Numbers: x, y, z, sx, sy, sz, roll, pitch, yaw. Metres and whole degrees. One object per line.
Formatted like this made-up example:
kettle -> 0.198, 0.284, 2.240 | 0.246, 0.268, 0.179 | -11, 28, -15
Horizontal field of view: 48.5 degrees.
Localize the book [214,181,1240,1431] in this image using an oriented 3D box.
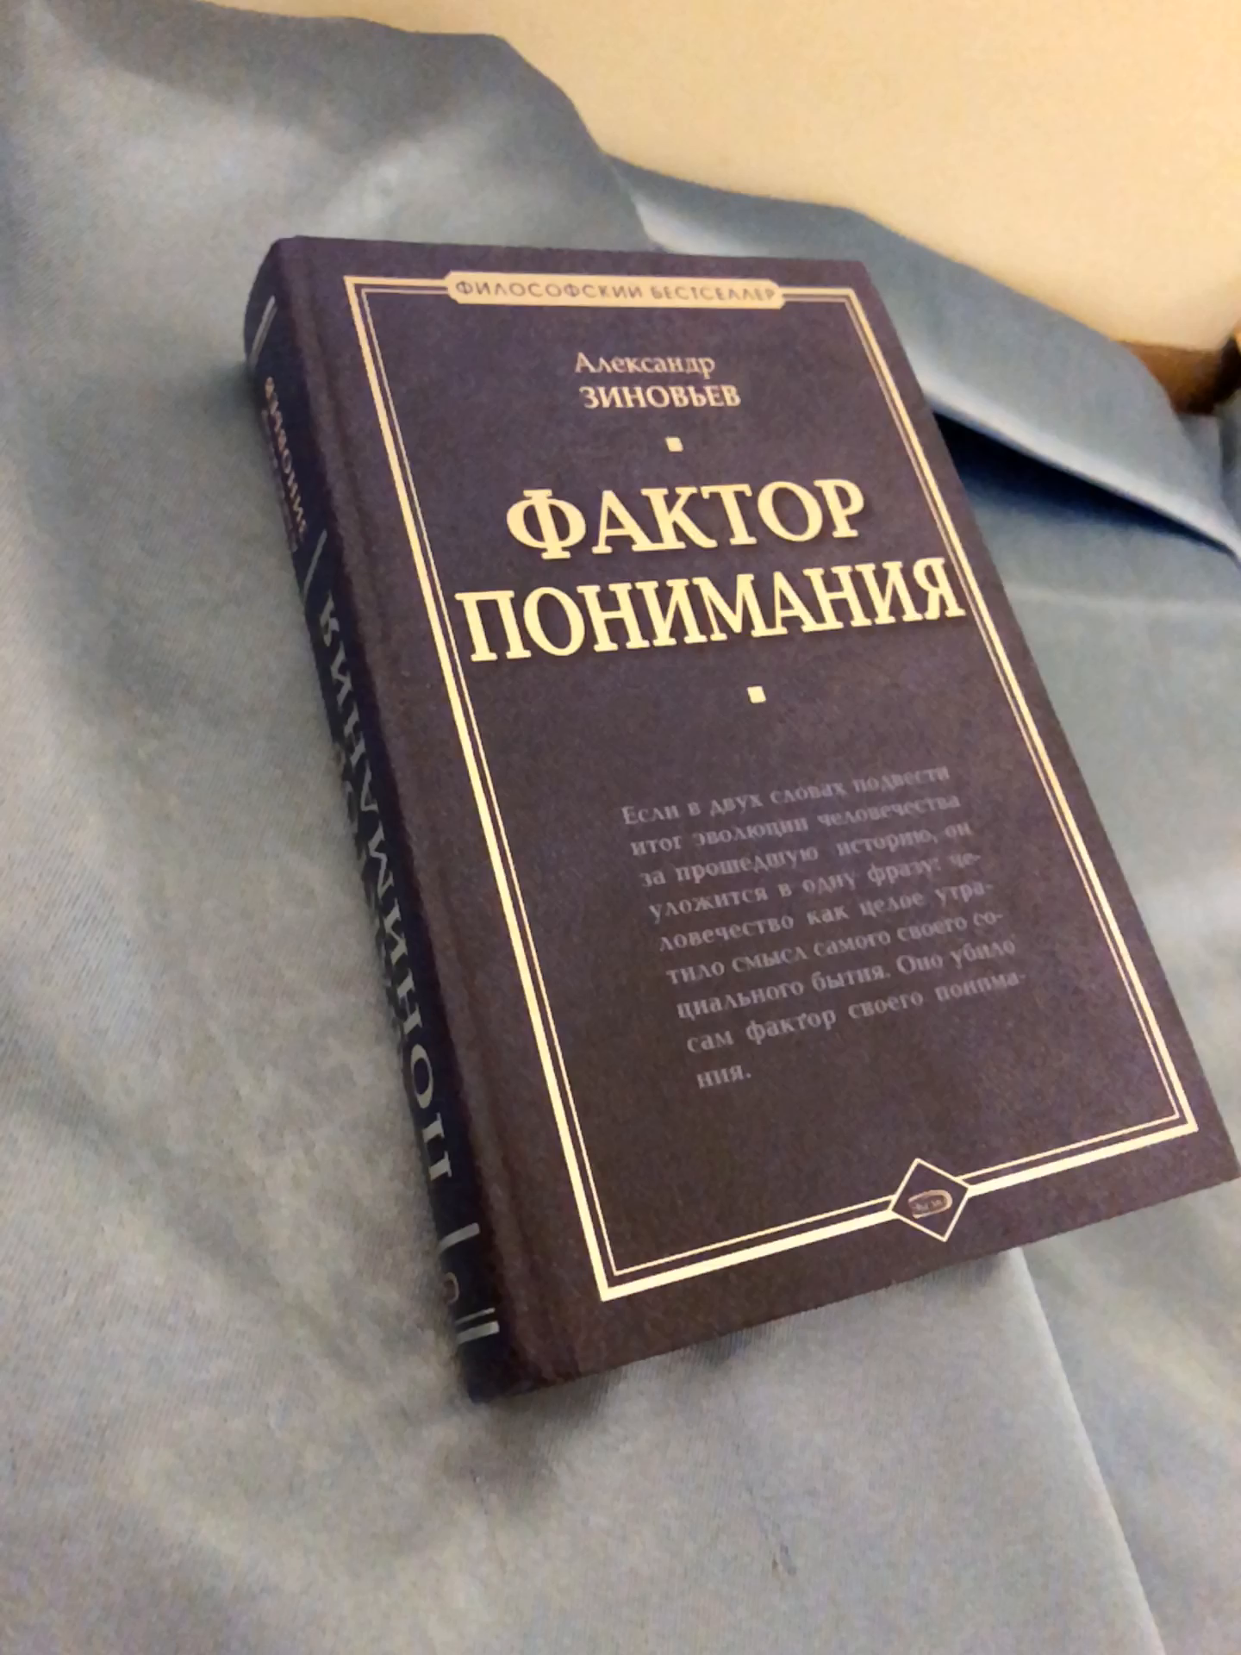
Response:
book -> 0.014, -0.023, 0.261 | 0.140, 0.040, 0.221 | -8, 67, -21
